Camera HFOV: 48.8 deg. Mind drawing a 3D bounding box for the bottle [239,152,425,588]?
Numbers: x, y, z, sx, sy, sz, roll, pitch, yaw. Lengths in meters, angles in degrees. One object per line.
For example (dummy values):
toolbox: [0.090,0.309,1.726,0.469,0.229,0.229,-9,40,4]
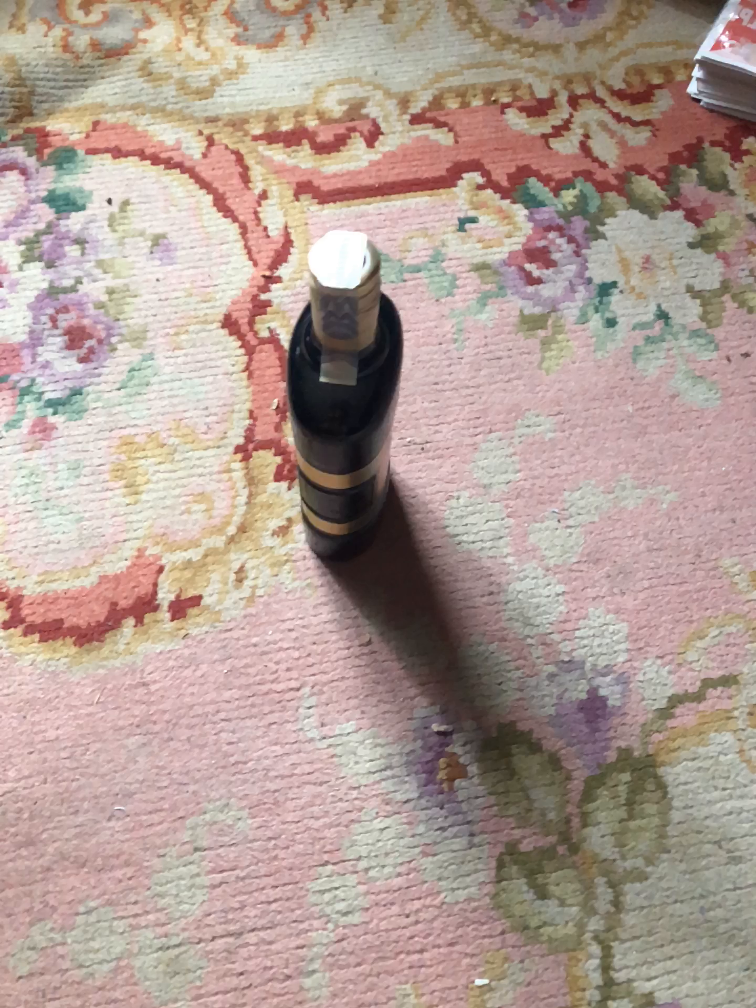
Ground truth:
bottle: [-0.016,-0.046,0.426,0.050,0.239,0.100,10,67,4]
